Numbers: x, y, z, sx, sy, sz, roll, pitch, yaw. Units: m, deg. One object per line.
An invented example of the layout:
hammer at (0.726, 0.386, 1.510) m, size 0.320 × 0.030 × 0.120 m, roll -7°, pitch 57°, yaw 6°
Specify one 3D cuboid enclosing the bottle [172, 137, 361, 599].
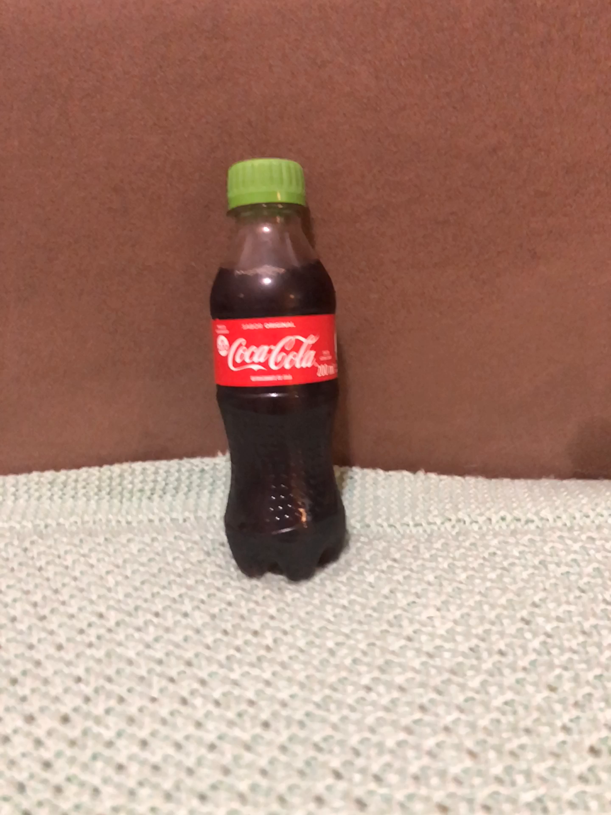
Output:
bottle at (-0.015, -0.016, 0.283) m, size 0.060 × 0.170 × 0.060 m, roll -3°, pitch 10°, yaw 0°
